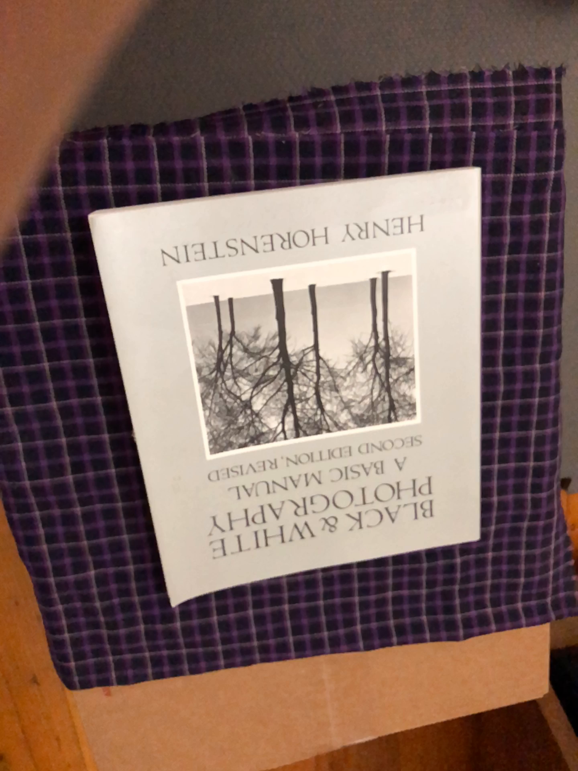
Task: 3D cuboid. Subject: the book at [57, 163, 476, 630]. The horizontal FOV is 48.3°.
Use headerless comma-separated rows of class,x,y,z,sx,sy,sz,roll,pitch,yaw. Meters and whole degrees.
book,0.003,0.013,0.378,0.210,0.030,0.250,-9,111,-6
